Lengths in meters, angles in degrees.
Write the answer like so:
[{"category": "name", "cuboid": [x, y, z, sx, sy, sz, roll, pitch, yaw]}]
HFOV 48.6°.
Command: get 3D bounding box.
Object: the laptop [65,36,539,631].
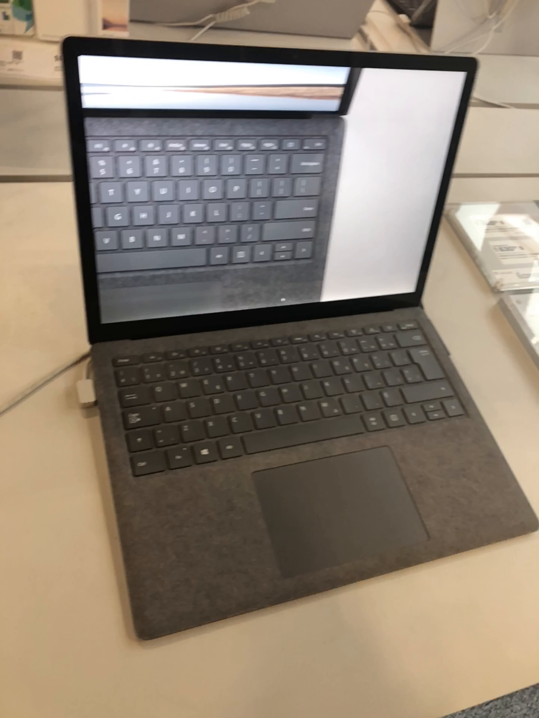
[{"category": "laptop", "cuboid": [0.041, -0.033, 0.406, 0.297, 0.197, 0.295, -7, 56, -20]}]
